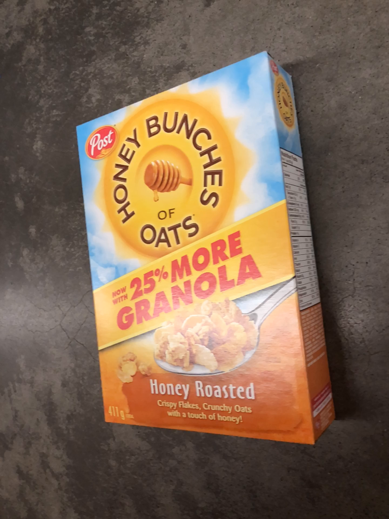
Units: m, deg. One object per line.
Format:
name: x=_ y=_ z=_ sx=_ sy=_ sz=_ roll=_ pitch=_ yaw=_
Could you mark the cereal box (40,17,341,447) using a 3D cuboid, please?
cereal box: x=-0.011 y=-0.008 z=0.353 sx=0.211 sy=0.060 sz=0.280 roll=-7 pitch=91 yaw=29
